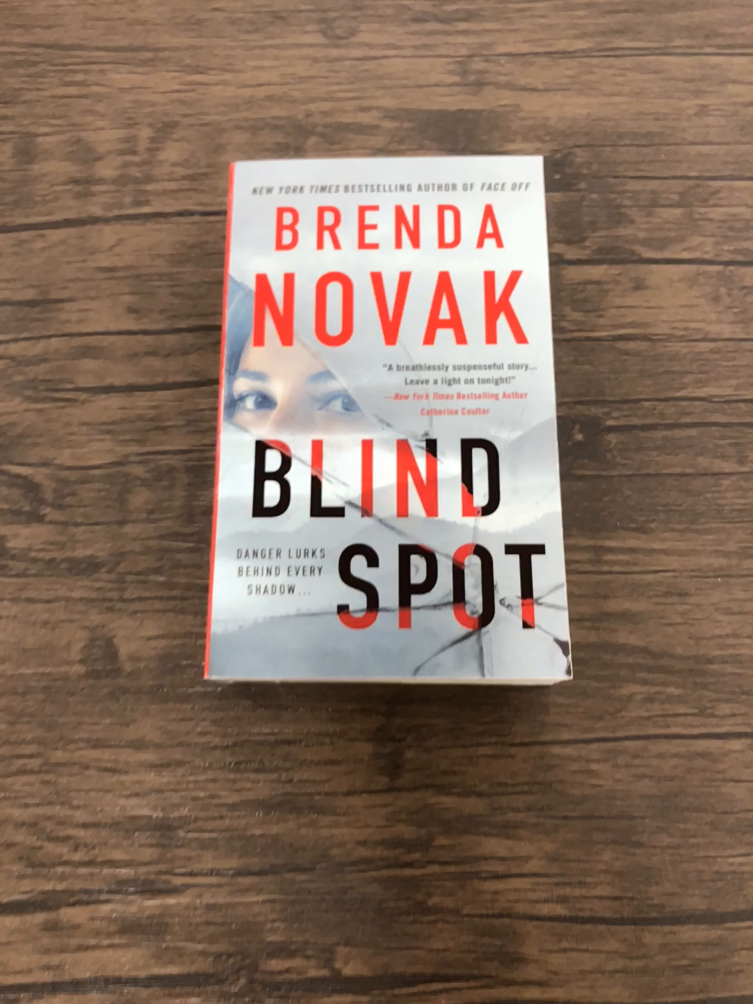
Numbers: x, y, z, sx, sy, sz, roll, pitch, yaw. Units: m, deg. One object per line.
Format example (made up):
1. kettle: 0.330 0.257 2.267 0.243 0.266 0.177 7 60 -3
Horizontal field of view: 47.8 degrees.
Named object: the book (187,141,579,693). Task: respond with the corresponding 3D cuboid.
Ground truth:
1. book: 0.002 -0.028 0.276 0.109 0.039 0.175 0 76 0
